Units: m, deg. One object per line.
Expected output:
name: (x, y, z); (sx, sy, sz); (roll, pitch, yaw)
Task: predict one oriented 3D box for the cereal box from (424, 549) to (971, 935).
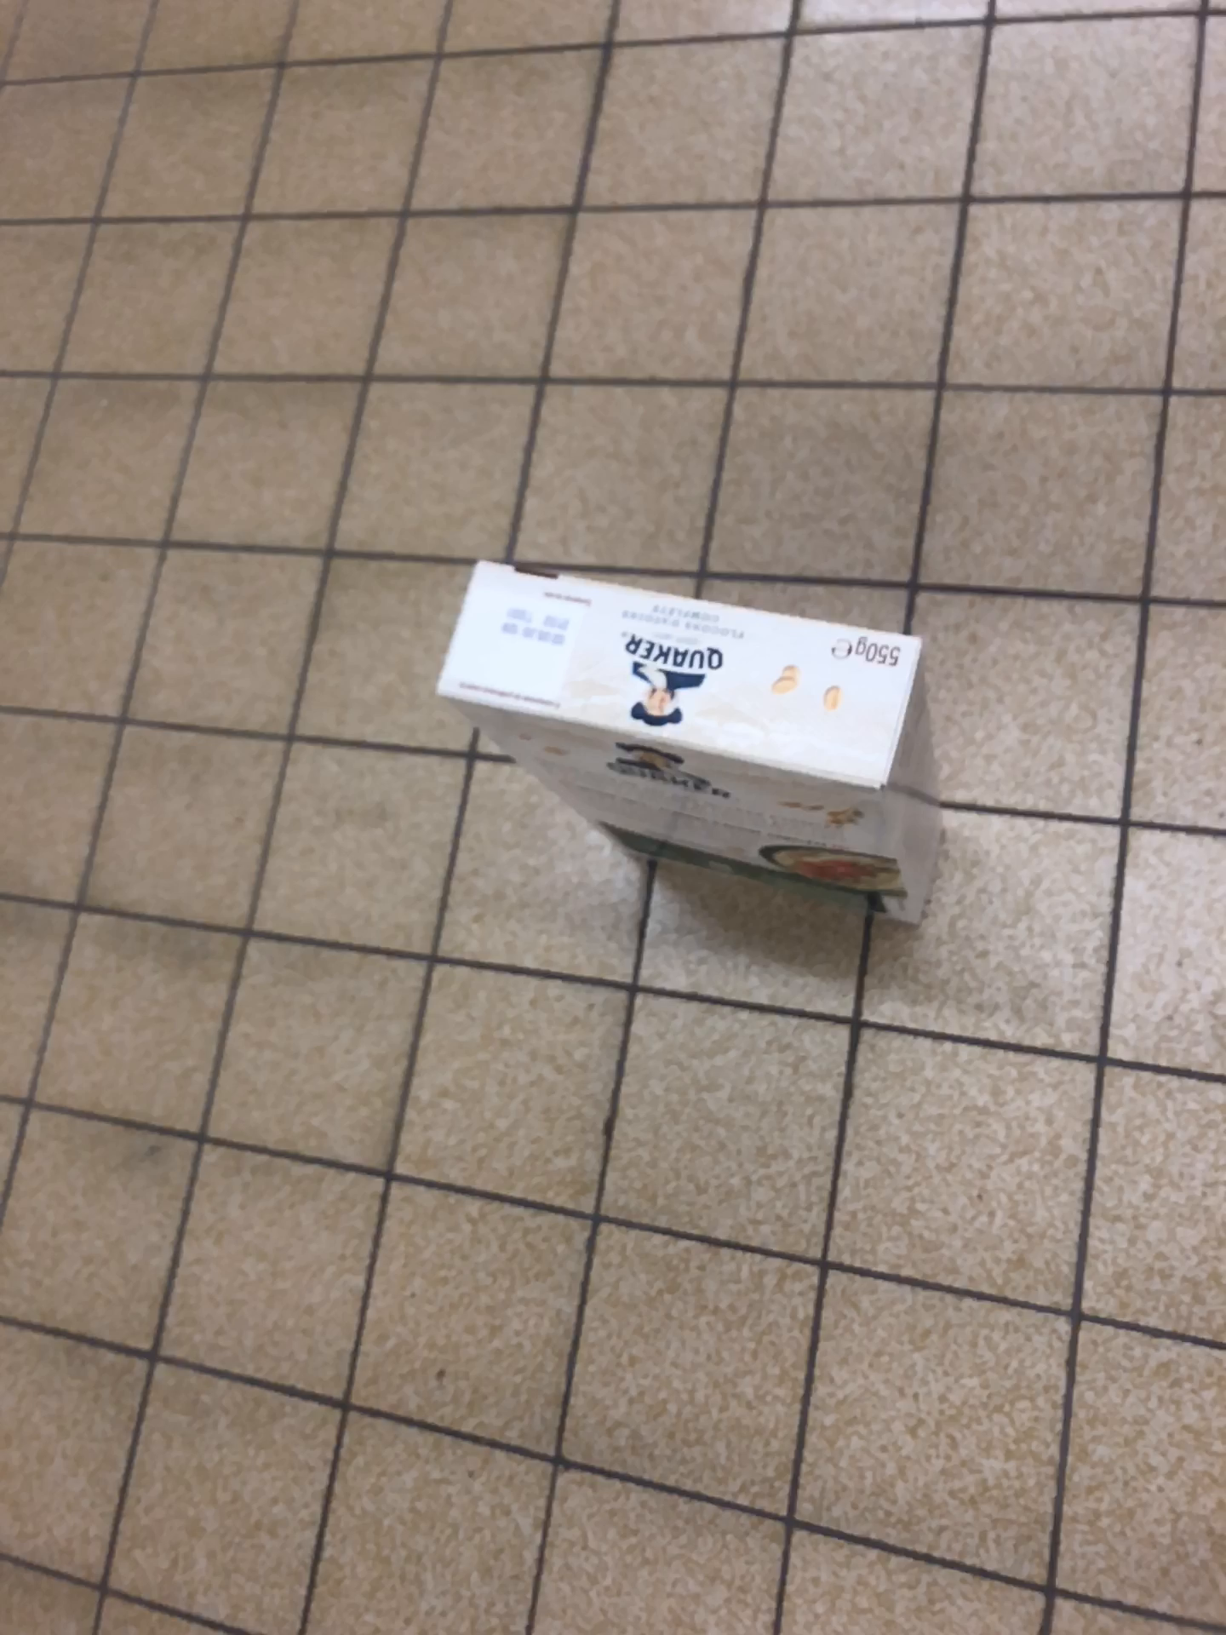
cereal box: (0.049, -0.017, 0.503); (0.150, 0.230, 0.050); (14, 81, 18)
